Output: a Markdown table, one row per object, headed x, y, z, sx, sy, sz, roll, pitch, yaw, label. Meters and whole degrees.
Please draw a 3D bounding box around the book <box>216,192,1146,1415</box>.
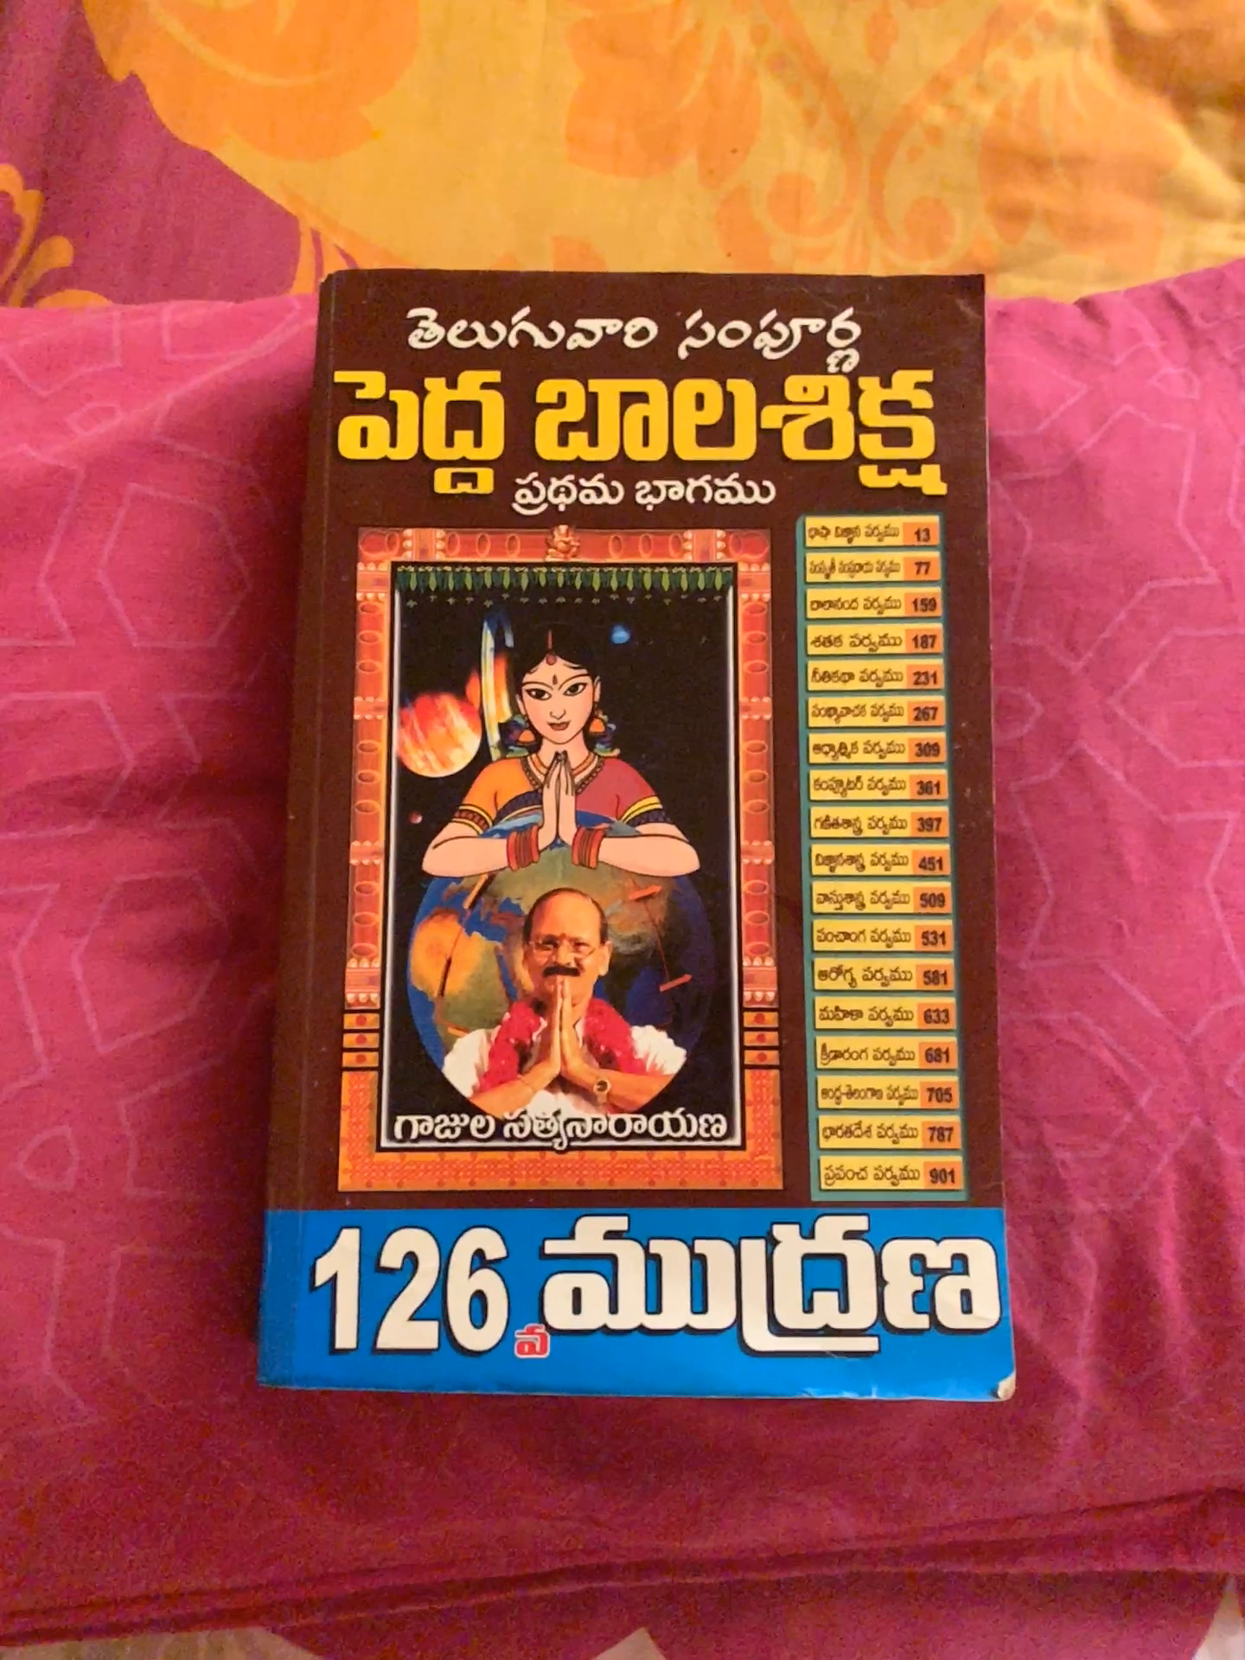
| x | y | z | sx | sy | sz | roll | pitch | yaw | label |
| --- | --- | --- | --- | --- | --- | --- | --- | --- | --- |
| 0.013 | -0.013 | 0.296 | 0.180 | 0.050 | 0.260 | 1 | 80 | 1 | book |
